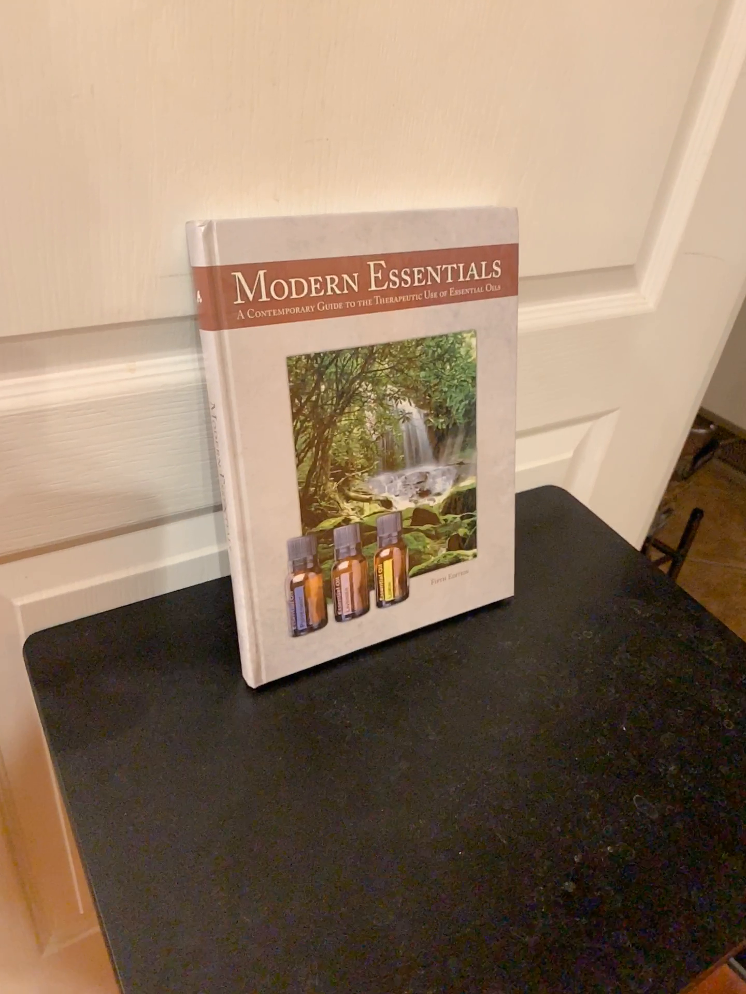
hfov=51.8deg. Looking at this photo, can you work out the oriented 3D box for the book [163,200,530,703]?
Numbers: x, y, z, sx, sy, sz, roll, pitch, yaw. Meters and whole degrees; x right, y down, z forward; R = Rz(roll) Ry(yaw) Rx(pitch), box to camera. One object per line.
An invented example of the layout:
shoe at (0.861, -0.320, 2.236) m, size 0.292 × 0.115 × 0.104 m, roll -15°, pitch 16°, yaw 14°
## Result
book at (0.001, -0.035, 0.501) m, size 0.230 × 0.289 × 0.030 m, roll -14°, pitch 23°, yaw -28°
